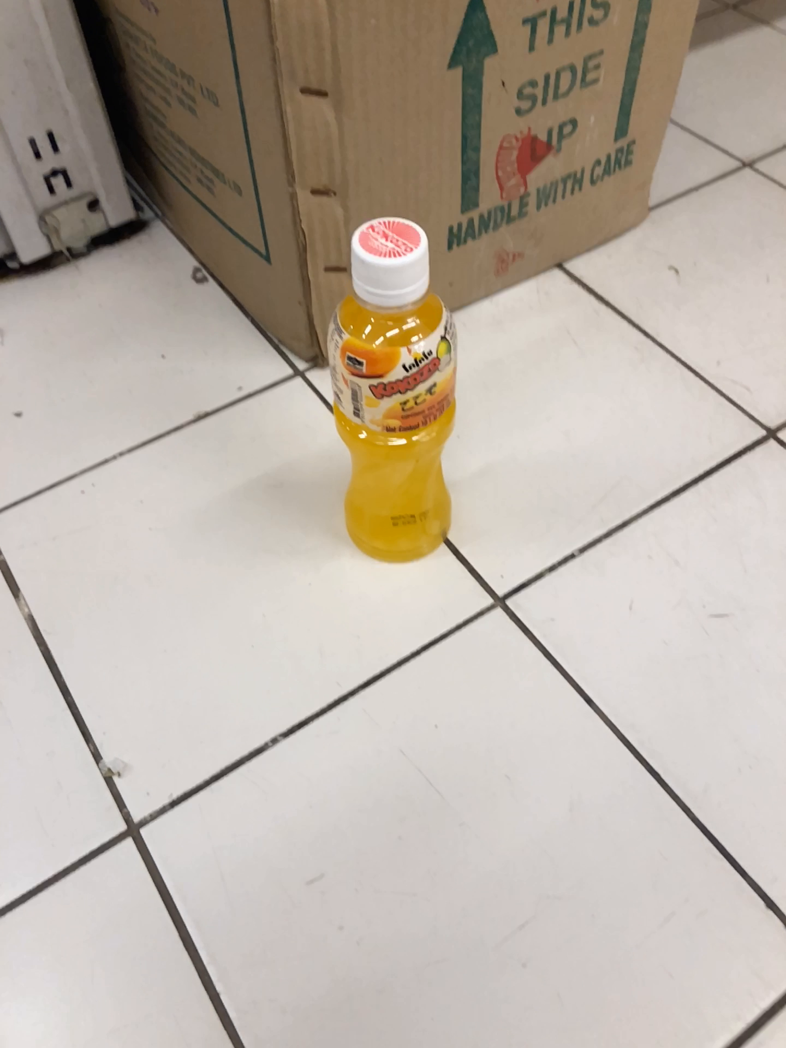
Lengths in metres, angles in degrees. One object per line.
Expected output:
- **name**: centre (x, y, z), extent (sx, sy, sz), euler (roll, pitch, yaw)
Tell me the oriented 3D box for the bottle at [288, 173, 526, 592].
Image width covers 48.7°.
- **bottle**: centre (0.005, -0.056, 0.406), extent (0.070, 0.179, 0.070), euler (0, 52, 1)
